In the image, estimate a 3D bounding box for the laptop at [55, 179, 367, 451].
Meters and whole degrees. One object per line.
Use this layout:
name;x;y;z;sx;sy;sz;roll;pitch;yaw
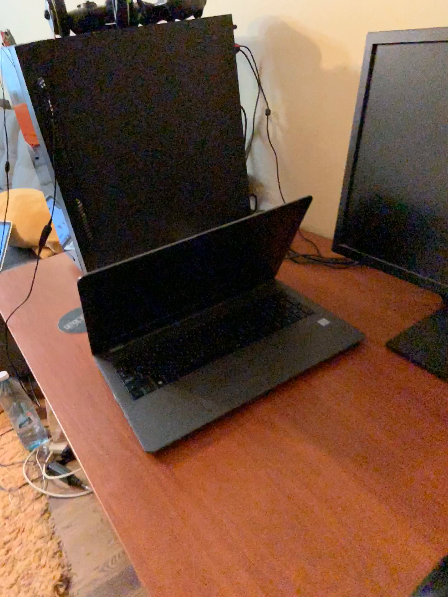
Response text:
laptop;-0.014;-0.009;0.697;0.374;0.208;0.250;-23;34;-22
